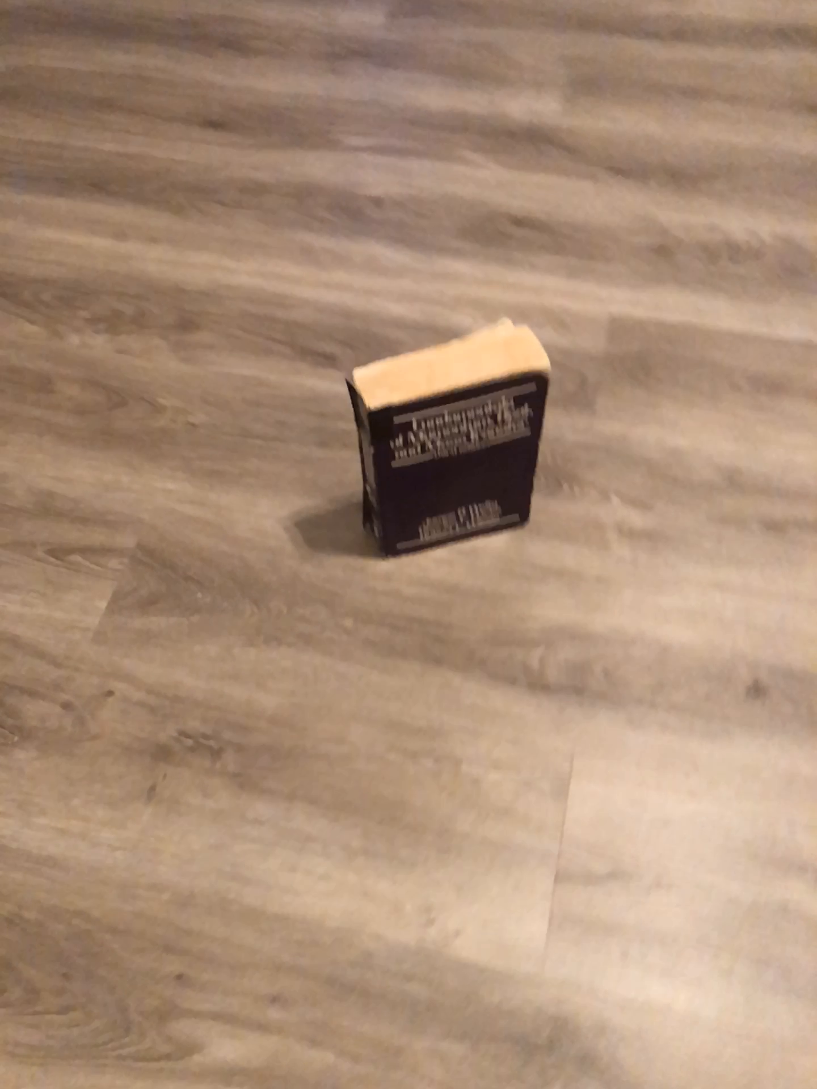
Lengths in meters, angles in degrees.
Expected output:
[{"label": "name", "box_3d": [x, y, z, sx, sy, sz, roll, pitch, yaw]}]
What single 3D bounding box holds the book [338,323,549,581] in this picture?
[{"label": "book", "box_3d": [0.031, -0.073, 0.798, 0.155, 0.219, 0.060, -18, 57, -9]}]
